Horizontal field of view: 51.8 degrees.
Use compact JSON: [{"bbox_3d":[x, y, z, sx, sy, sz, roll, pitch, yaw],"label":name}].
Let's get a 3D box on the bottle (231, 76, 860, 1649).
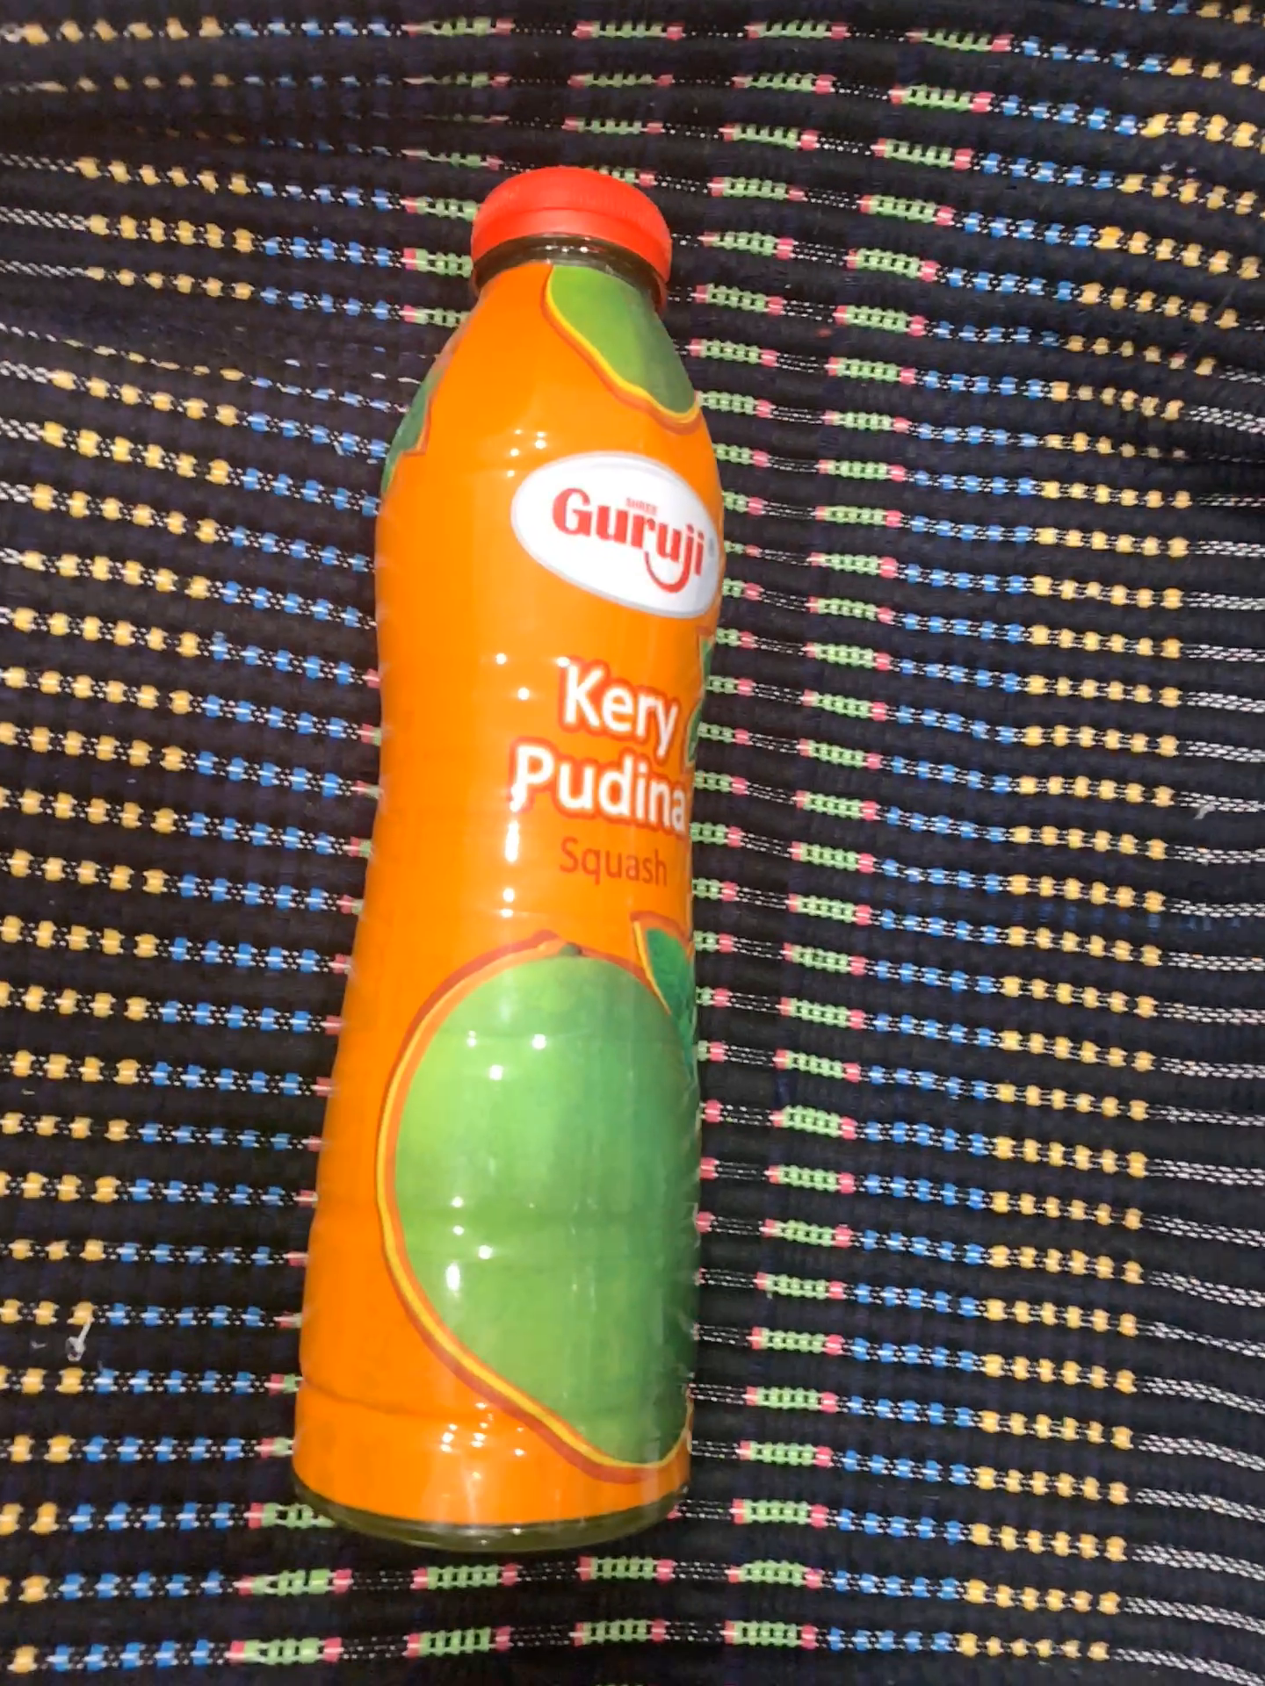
[{"bbox_3d":[-0.007,-0.002,0.234,0.070,0.070,0.230,21,69,-59],"label":"bottle"}]
